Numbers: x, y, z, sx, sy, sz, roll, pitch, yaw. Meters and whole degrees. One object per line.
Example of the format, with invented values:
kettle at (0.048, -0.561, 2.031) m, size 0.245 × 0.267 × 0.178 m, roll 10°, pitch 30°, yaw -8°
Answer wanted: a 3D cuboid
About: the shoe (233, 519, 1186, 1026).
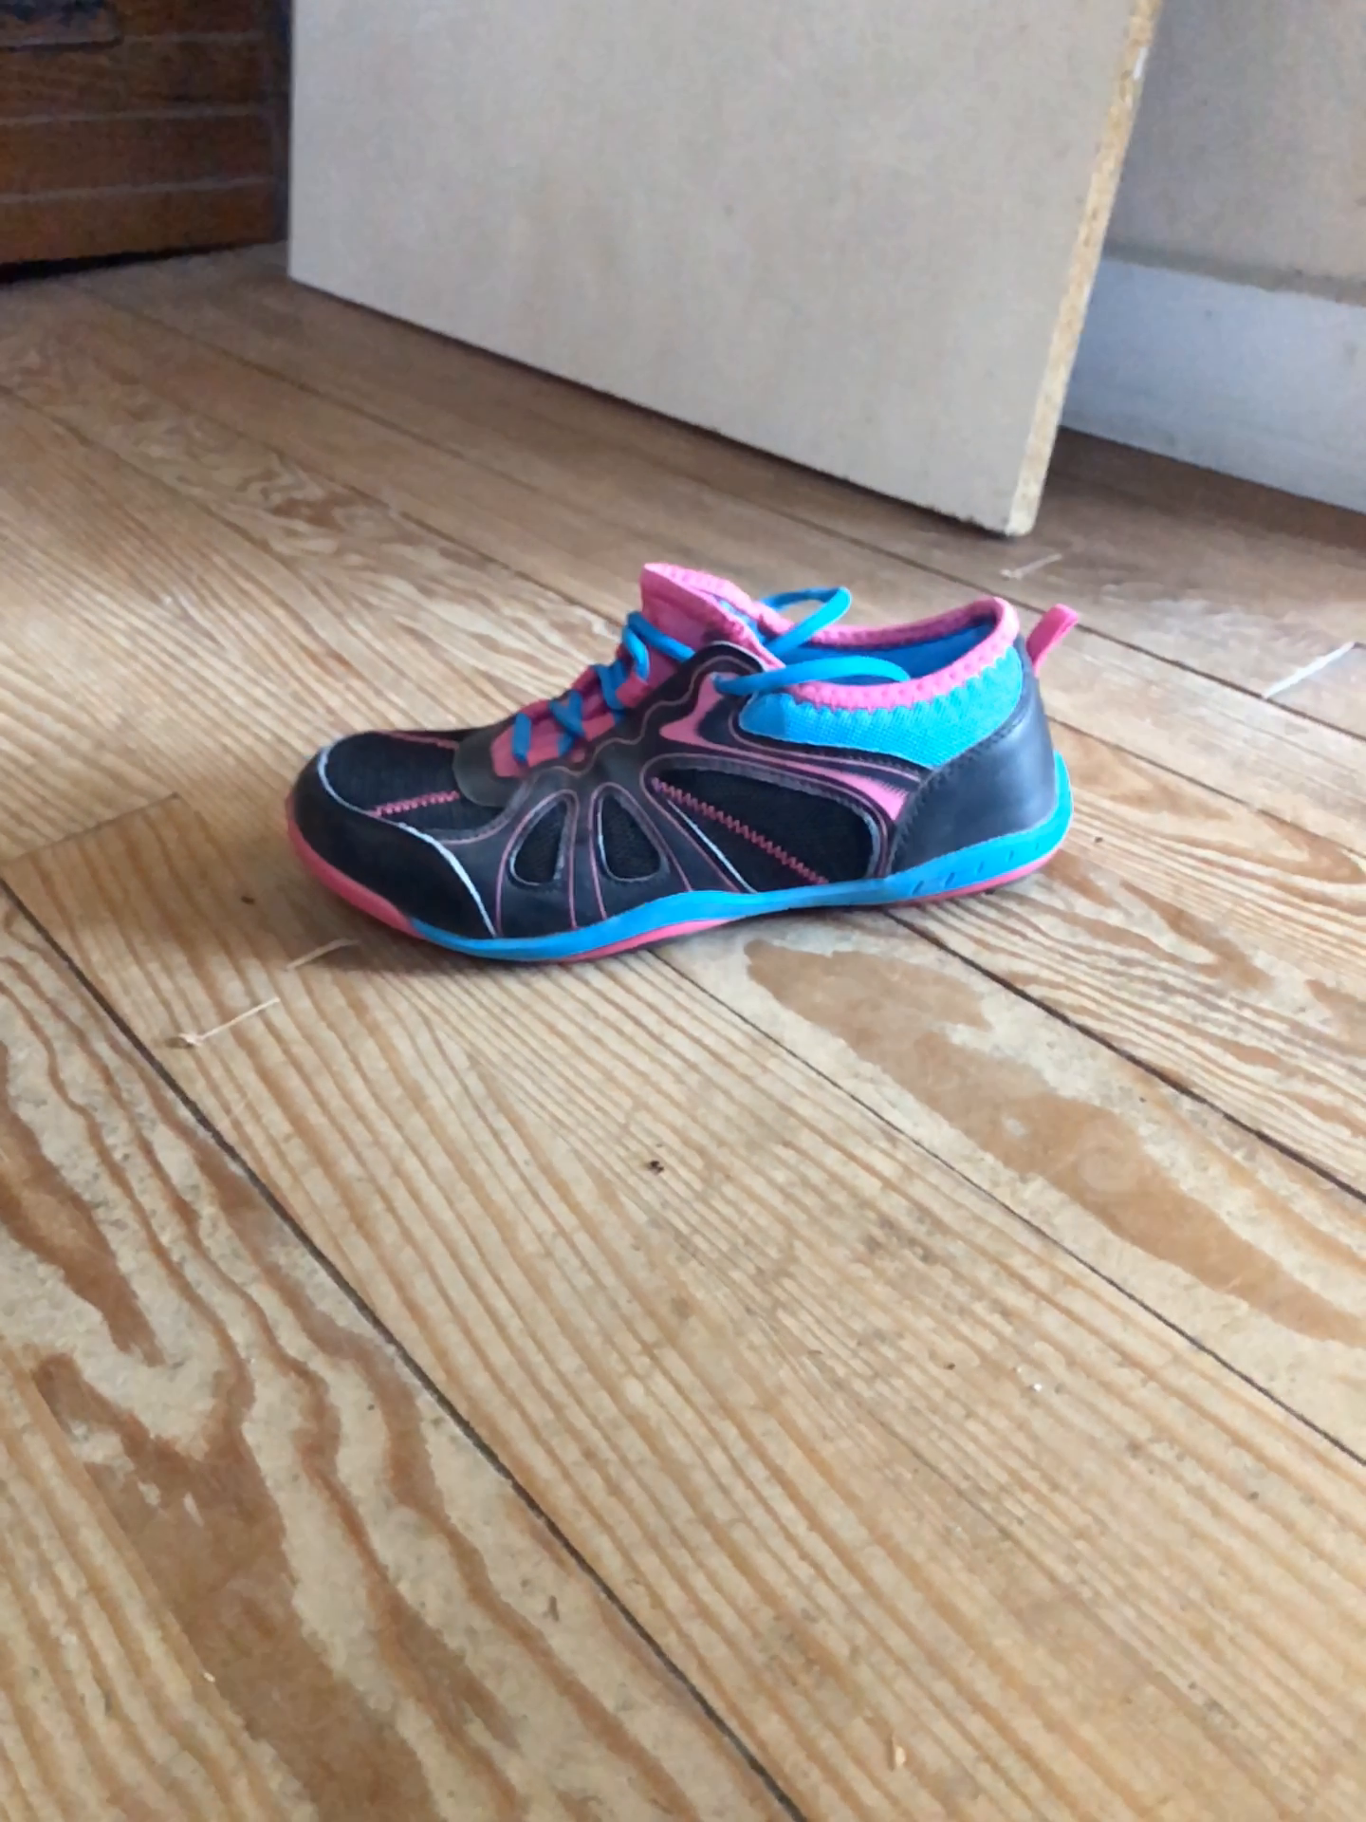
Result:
shoe at (0.006, -0.048, 0.484) m, size 0.260 × 0.099 × 0.111 m, roll -5°, pitch 37°, yaw -3°
